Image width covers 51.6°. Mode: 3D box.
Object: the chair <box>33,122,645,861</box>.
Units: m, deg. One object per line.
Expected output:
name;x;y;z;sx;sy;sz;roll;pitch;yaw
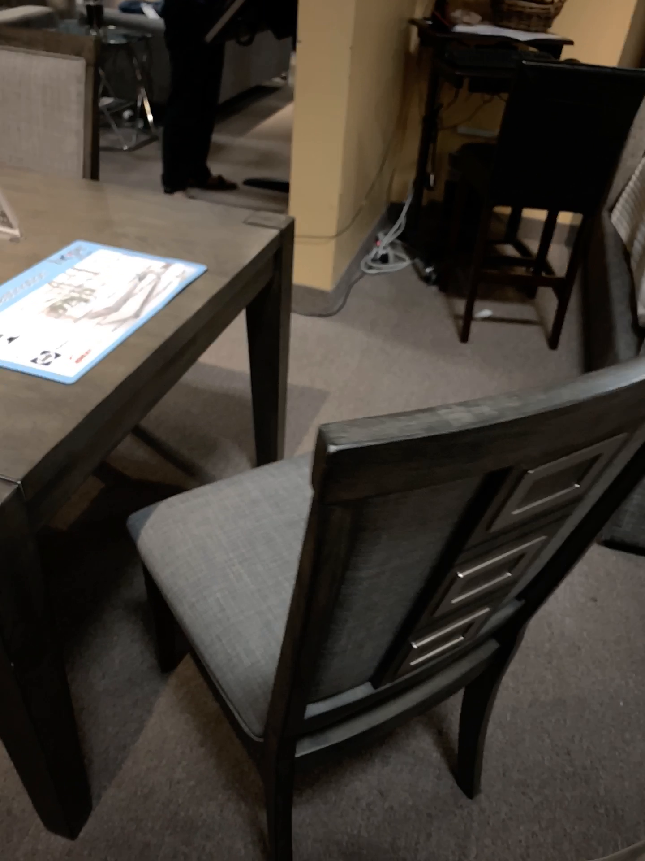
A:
chair;0.013;0.171;0.991;0.515;0.997;0.645;-18;43;-28
